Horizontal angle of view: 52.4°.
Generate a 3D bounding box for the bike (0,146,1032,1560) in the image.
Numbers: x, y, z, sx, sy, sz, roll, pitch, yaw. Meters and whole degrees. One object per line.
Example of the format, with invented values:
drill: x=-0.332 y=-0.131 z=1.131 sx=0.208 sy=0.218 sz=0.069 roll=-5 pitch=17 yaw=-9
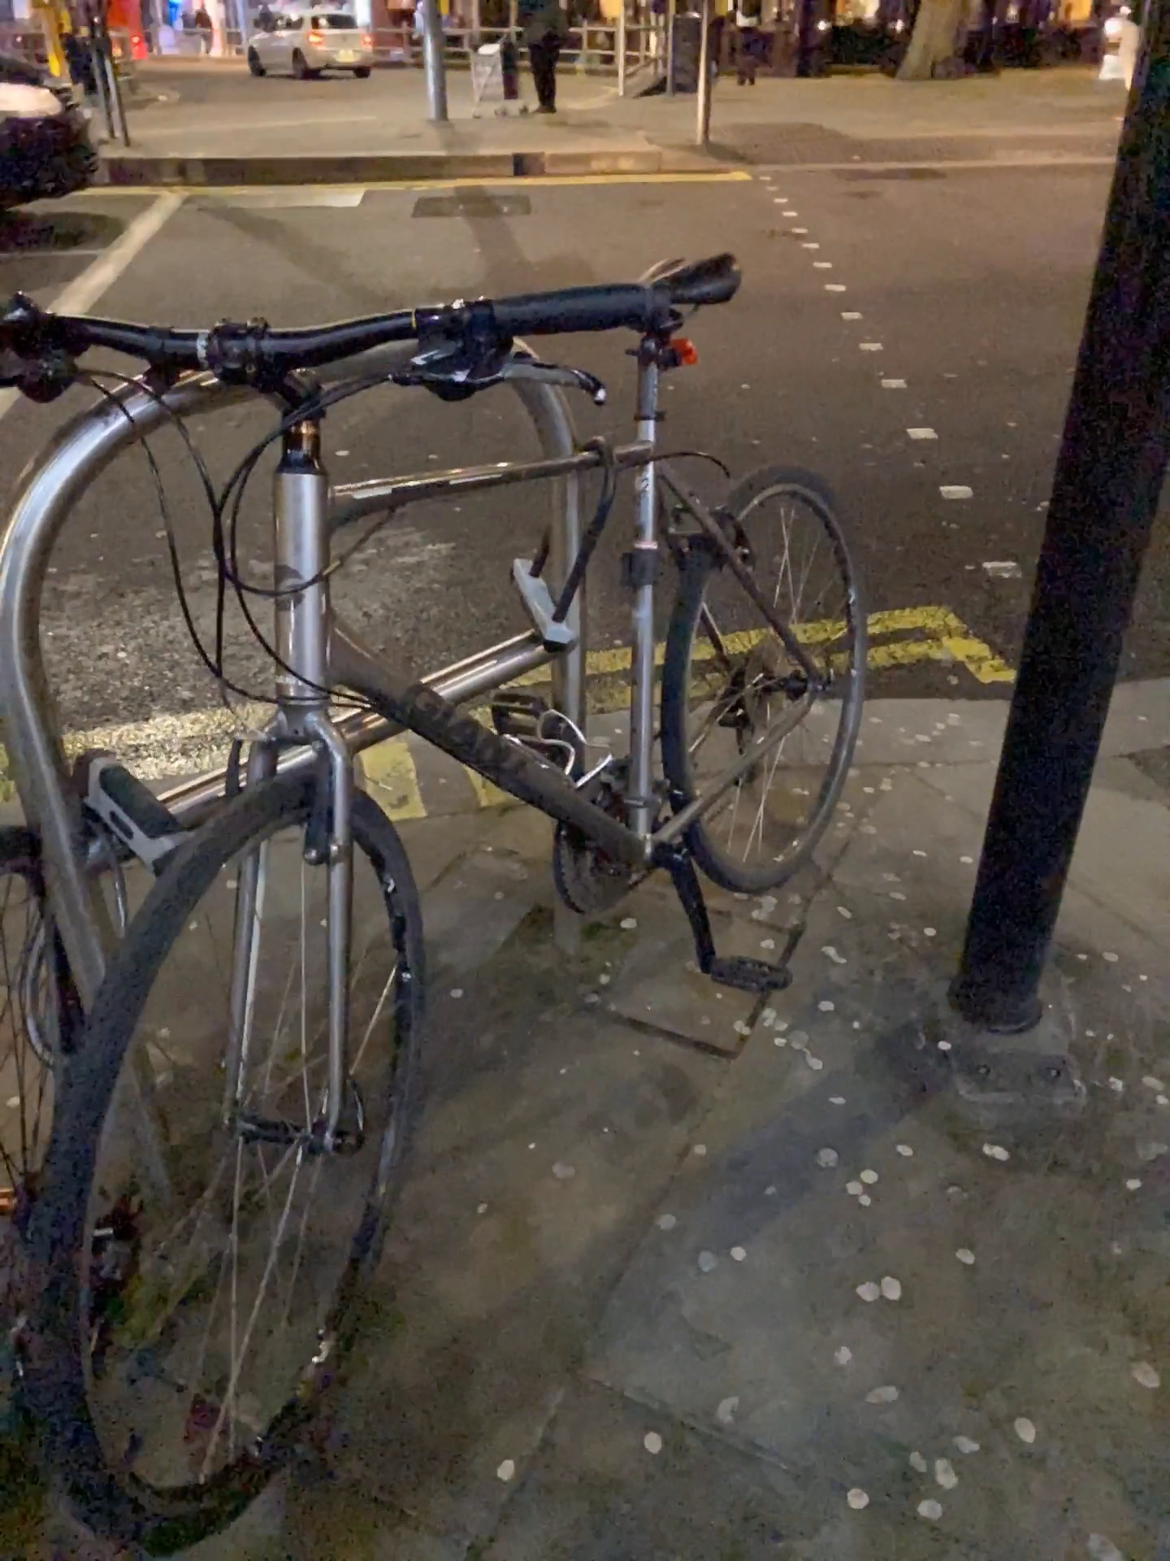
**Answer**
bike: x=-0.090 y=-0.113 z=1.526 sx=0.709 sy=1.124 sz=1.828 roll=16 pitch=35 yaw=25
